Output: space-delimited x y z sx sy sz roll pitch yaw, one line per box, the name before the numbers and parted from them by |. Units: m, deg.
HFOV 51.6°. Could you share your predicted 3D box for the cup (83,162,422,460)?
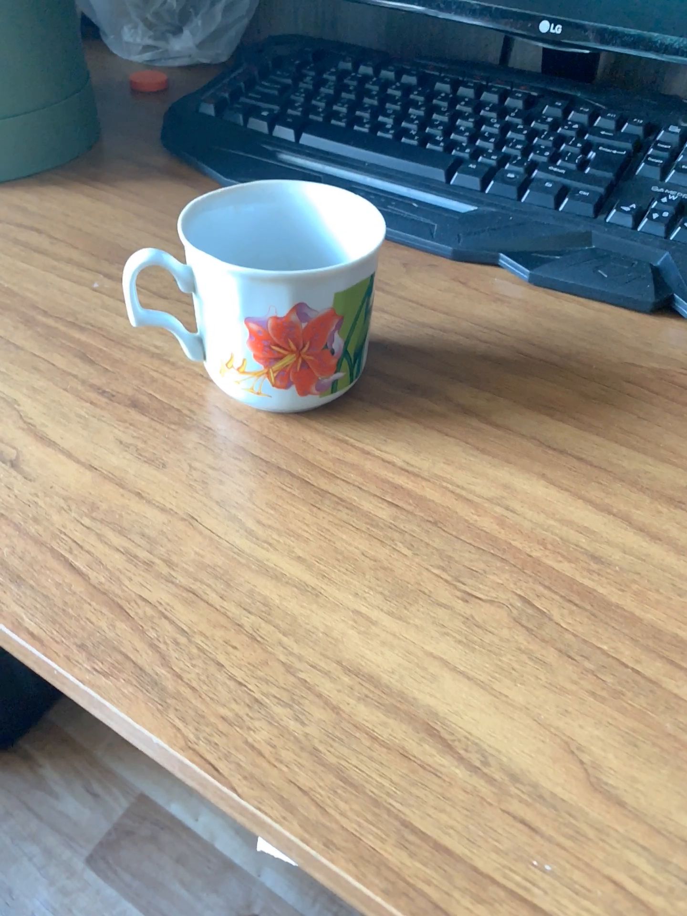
cup | -0.037 -0.064 0.292 0.110 0.080 0.070 -14 45 -18
